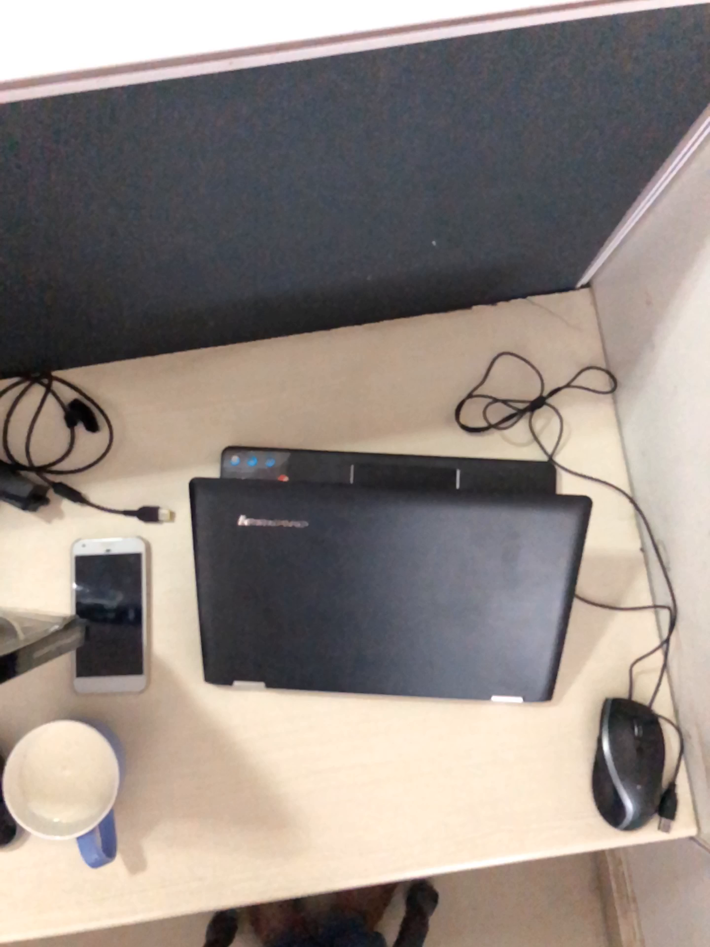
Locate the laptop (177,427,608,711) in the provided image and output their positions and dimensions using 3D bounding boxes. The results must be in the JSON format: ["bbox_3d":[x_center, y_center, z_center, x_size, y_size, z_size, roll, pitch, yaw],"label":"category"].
[{"bbox_3d":[0.026,0.083,0.678,0.324,0.143,0.204,3,90,1],"label":"laptop"}]
